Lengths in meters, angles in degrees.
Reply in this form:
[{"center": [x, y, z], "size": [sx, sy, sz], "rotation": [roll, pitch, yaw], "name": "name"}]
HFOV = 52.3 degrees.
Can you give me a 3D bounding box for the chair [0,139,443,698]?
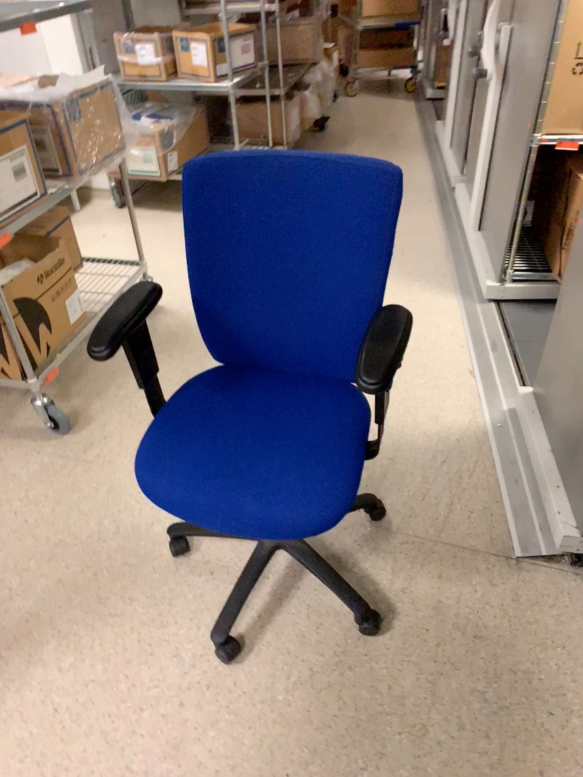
[{"center": [-0.056, 0.032, 1.356], "size": [0.670, 0.931, 0.767], "rotation": [6, 38, 11], "name": "chair"}]
